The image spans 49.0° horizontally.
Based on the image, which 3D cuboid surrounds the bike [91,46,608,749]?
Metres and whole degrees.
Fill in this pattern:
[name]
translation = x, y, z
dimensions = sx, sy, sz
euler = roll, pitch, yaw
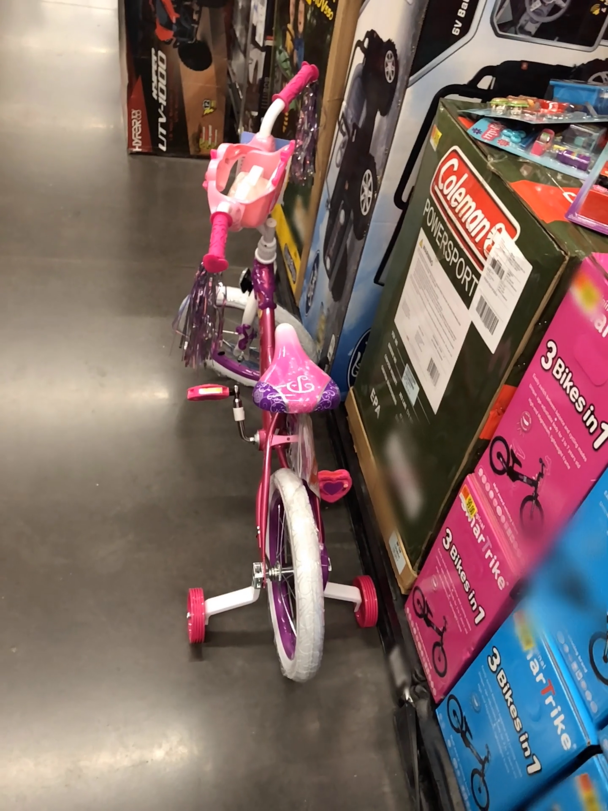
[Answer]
[bike]
translation = -0.077, -0.061, 1.278
dimensions = 0.477, 0.854, 0.953
euler = -8, 46, -21
